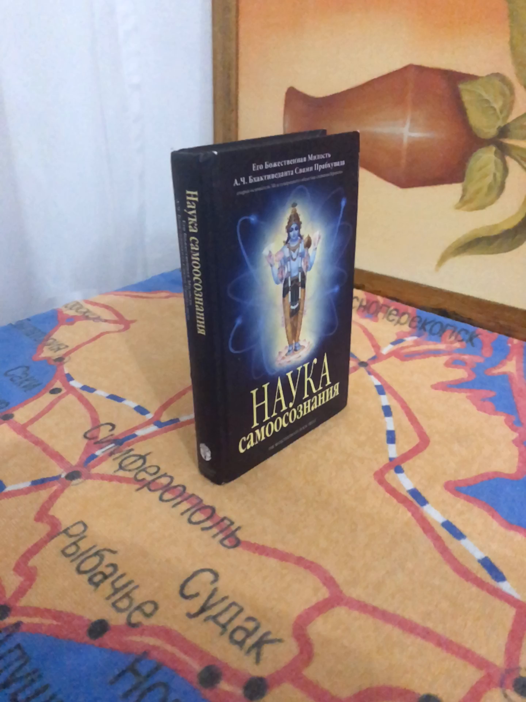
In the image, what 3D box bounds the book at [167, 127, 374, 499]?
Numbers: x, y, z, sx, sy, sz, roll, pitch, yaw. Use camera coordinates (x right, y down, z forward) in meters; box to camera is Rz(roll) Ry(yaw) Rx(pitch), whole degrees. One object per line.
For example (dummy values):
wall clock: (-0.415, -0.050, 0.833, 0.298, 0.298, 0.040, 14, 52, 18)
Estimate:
book: (0.012, -0.028, 0.374, 0.030, 0.206, 0.141, 22, 34, 39)
